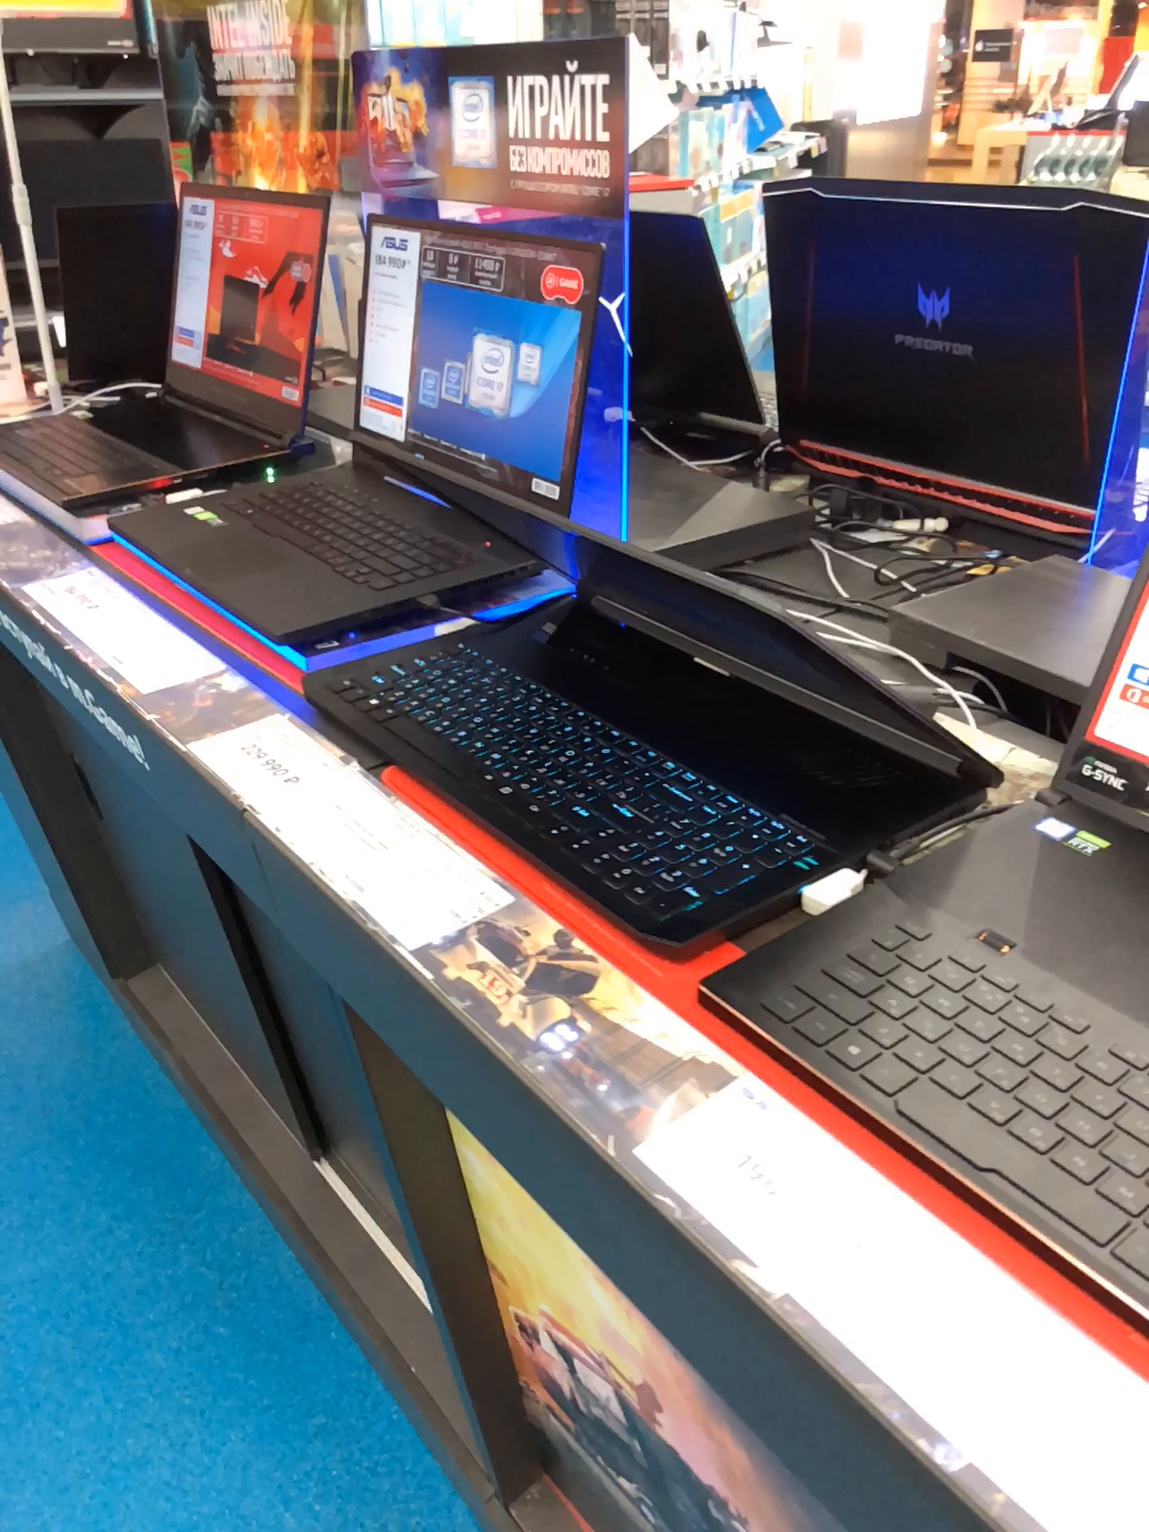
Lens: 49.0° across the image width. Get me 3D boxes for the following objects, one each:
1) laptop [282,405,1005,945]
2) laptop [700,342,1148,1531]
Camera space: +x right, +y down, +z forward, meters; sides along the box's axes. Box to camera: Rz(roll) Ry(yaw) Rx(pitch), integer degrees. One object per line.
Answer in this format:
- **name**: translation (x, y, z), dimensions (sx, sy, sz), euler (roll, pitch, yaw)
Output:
- **laptop**: translation (0.019, -0.087, 0.752), dimensions (0.226, 0.152, 0.371), euler (-21, 34, -31)
- **laptop**: translation (0.308, 0.012, 0.471), dimensions (0.363, 0.235, 0.373), euler (-21, 34, -32)
